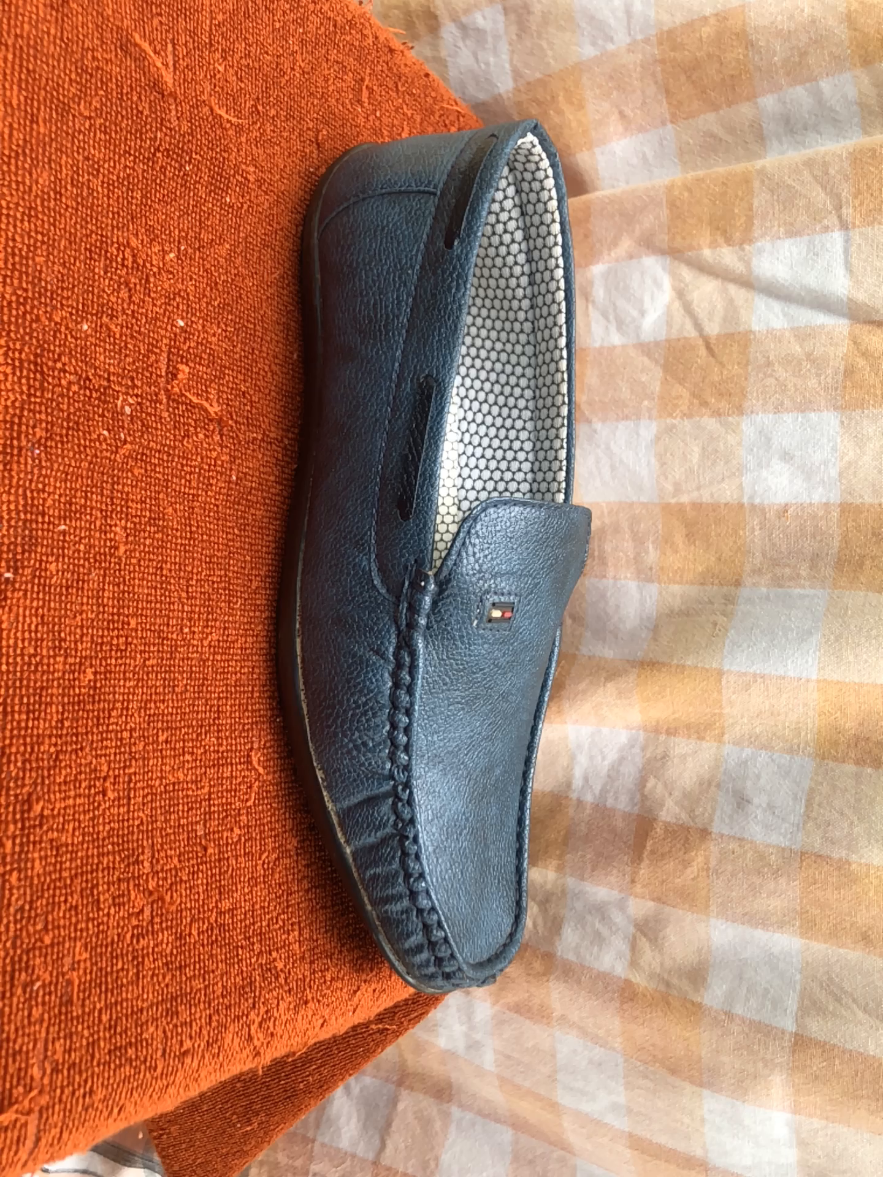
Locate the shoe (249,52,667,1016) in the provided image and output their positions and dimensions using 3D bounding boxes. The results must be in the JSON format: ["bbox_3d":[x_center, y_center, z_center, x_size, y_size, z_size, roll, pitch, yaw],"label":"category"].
[{"bbox_3d":[0.012,-0.015,0.328,0.101,0.089,0.260,10,81,-57],"label":"shoe"}]
